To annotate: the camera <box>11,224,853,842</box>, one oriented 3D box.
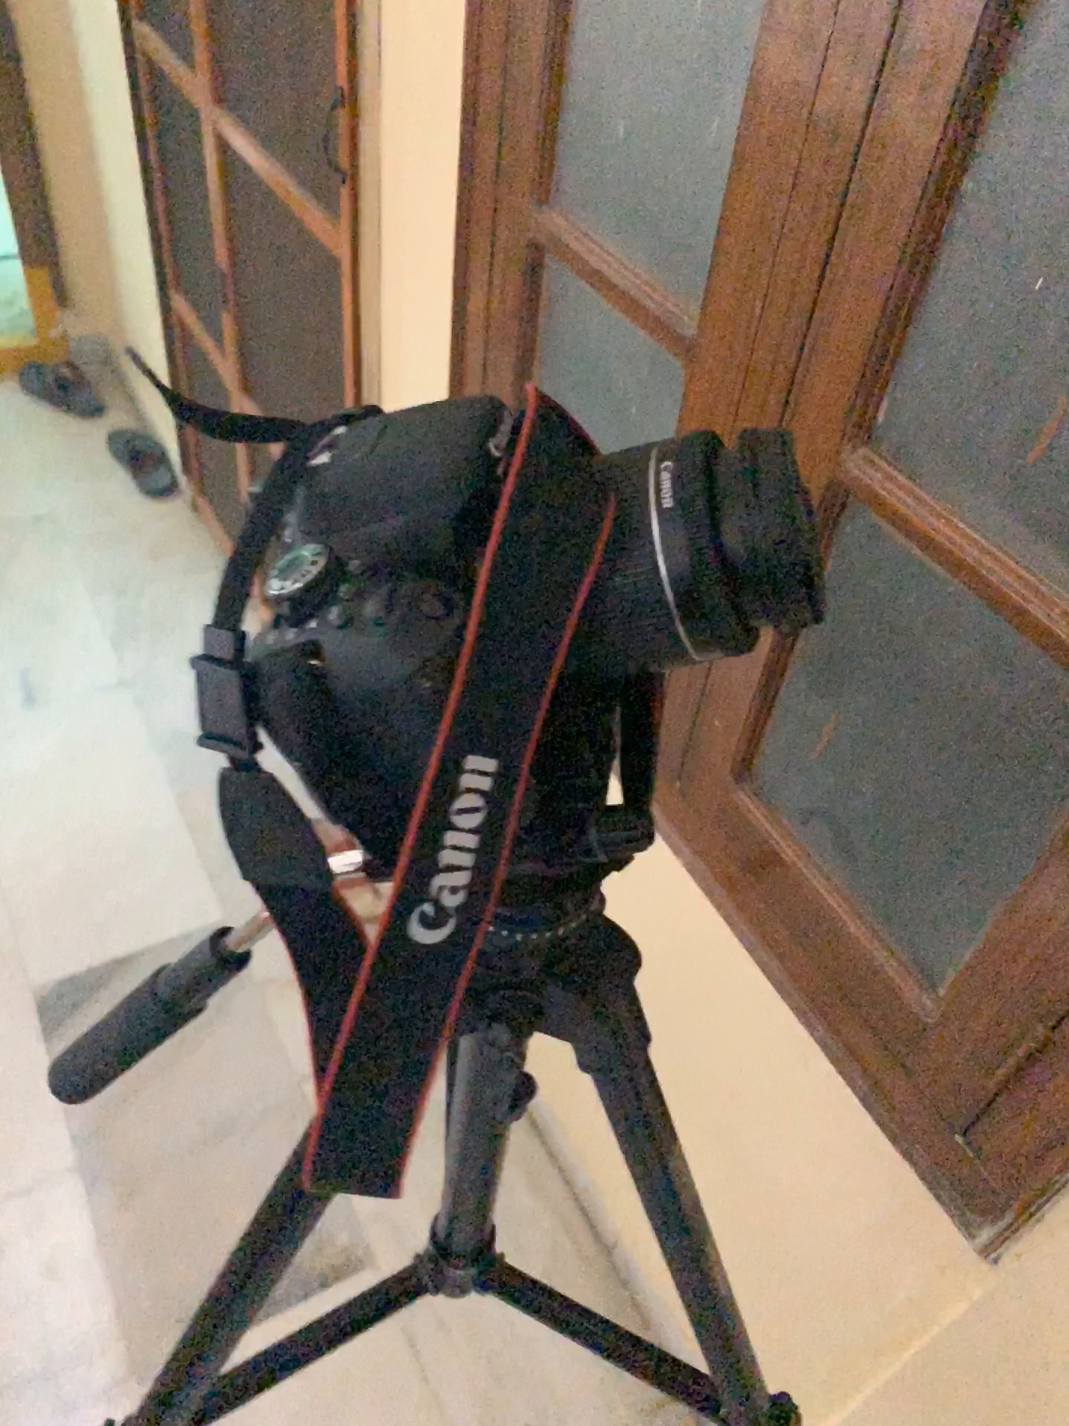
[{"bbox_3d":[-0.022,-0.056,0.368,0.225,0.100,0.142,-9,42,17],"label":"camera"}]
